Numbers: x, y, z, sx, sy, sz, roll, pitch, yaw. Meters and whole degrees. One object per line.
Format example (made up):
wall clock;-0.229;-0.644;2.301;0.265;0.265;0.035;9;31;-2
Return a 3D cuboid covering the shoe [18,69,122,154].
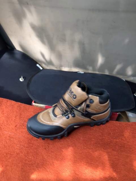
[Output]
shoe;0.008;0.053;0.468;0.271;0.149;0.110;-17;42;-21
